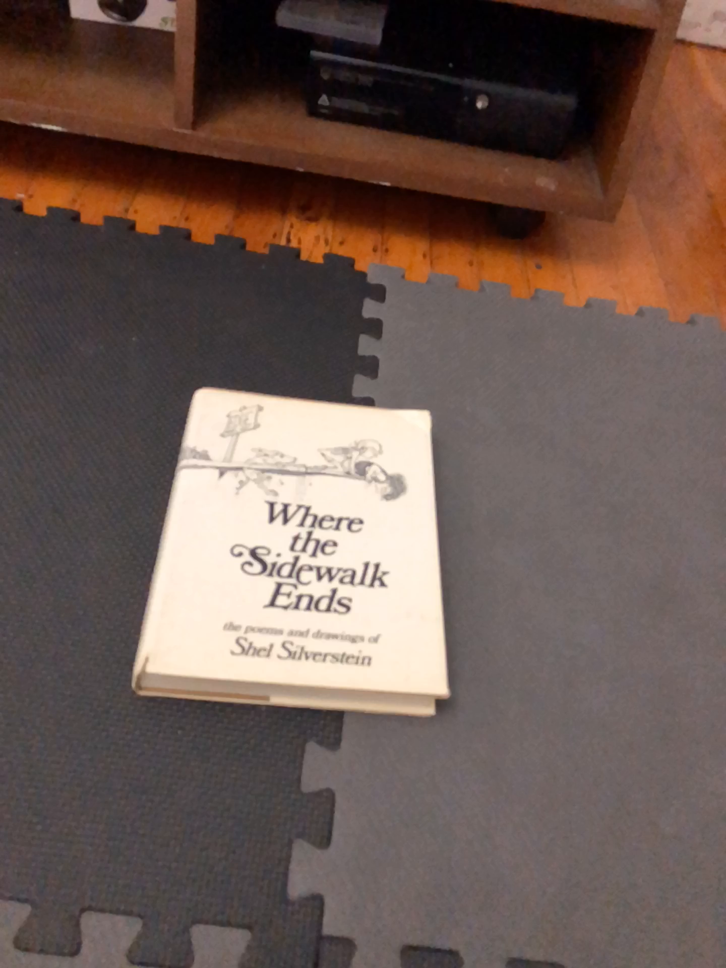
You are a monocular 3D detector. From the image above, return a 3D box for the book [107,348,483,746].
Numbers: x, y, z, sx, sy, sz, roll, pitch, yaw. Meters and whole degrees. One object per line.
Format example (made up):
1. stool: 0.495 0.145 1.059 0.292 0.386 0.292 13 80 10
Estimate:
1. book: -0.033 0.024 0.523 0.200 0.030 0.281 6 48 -5
